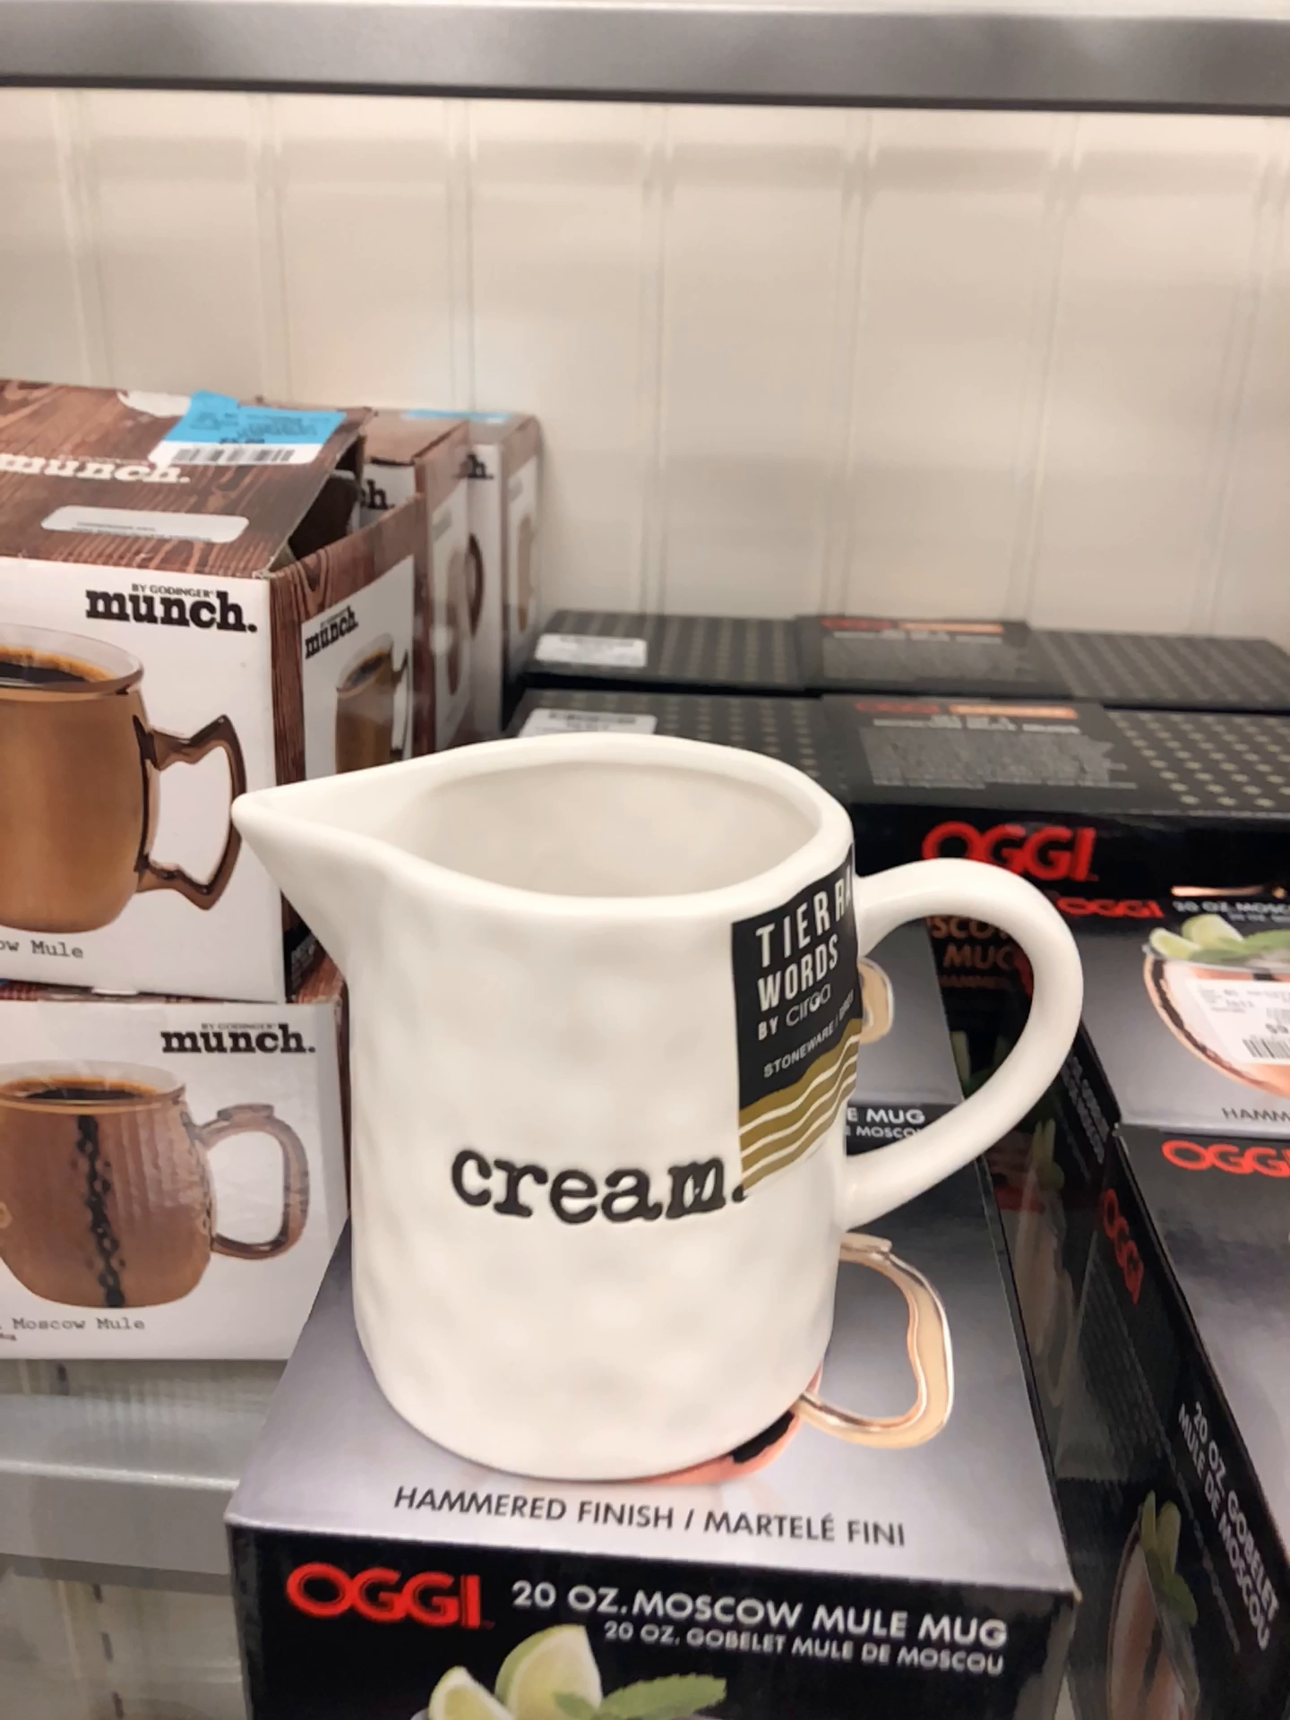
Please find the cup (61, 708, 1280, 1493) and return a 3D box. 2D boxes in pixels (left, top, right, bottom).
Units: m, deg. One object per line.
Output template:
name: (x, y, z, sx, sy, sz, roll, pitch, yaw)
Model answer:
cup: (0.002, 0.029, 0.191, 0.125, 0.080, 0.063, 1, 23, -2)
